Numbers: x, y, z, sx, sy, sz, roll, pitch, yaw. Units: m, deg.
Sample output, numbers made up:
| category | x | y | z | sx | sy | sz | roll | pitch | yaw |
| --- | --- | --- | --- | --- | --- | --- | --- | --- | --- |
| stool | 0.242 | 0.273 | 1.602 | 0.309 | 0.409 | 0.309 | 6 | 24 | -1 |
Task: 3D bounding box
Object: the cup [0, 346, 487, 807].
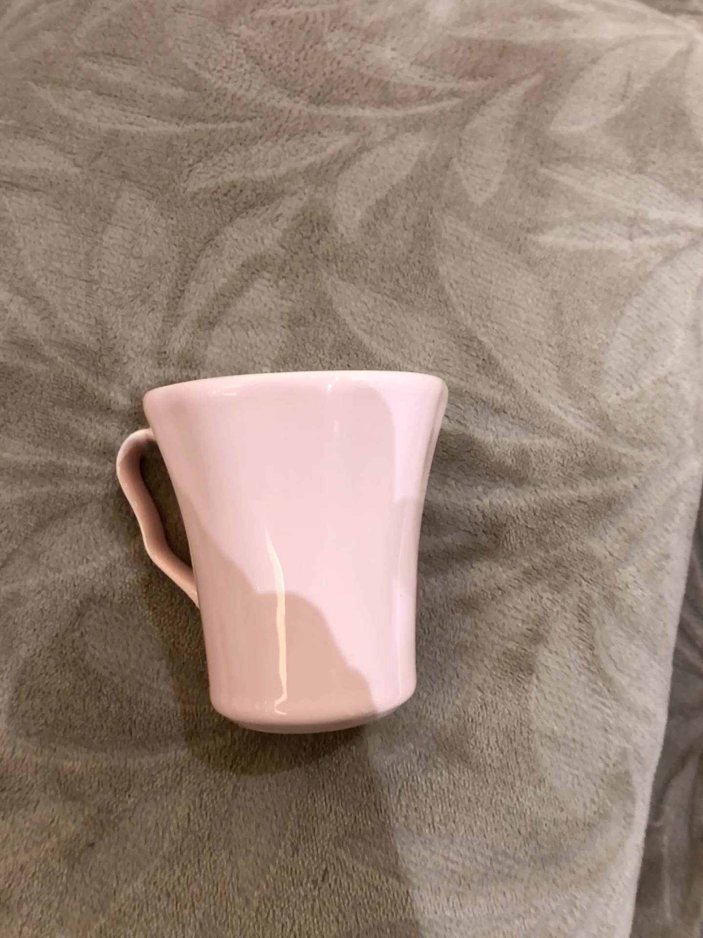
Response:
| category | x | y | z | sx | sy | sz | roll | pitch | yaw |
| --- | --- | --- | --- | --- | --- | --- | --- | --- | --- |
| cup | -0.027 | 0.025 | 0.209 | 0.100 | 0.070 | 0.090 | -6 | 86 | 28 |
